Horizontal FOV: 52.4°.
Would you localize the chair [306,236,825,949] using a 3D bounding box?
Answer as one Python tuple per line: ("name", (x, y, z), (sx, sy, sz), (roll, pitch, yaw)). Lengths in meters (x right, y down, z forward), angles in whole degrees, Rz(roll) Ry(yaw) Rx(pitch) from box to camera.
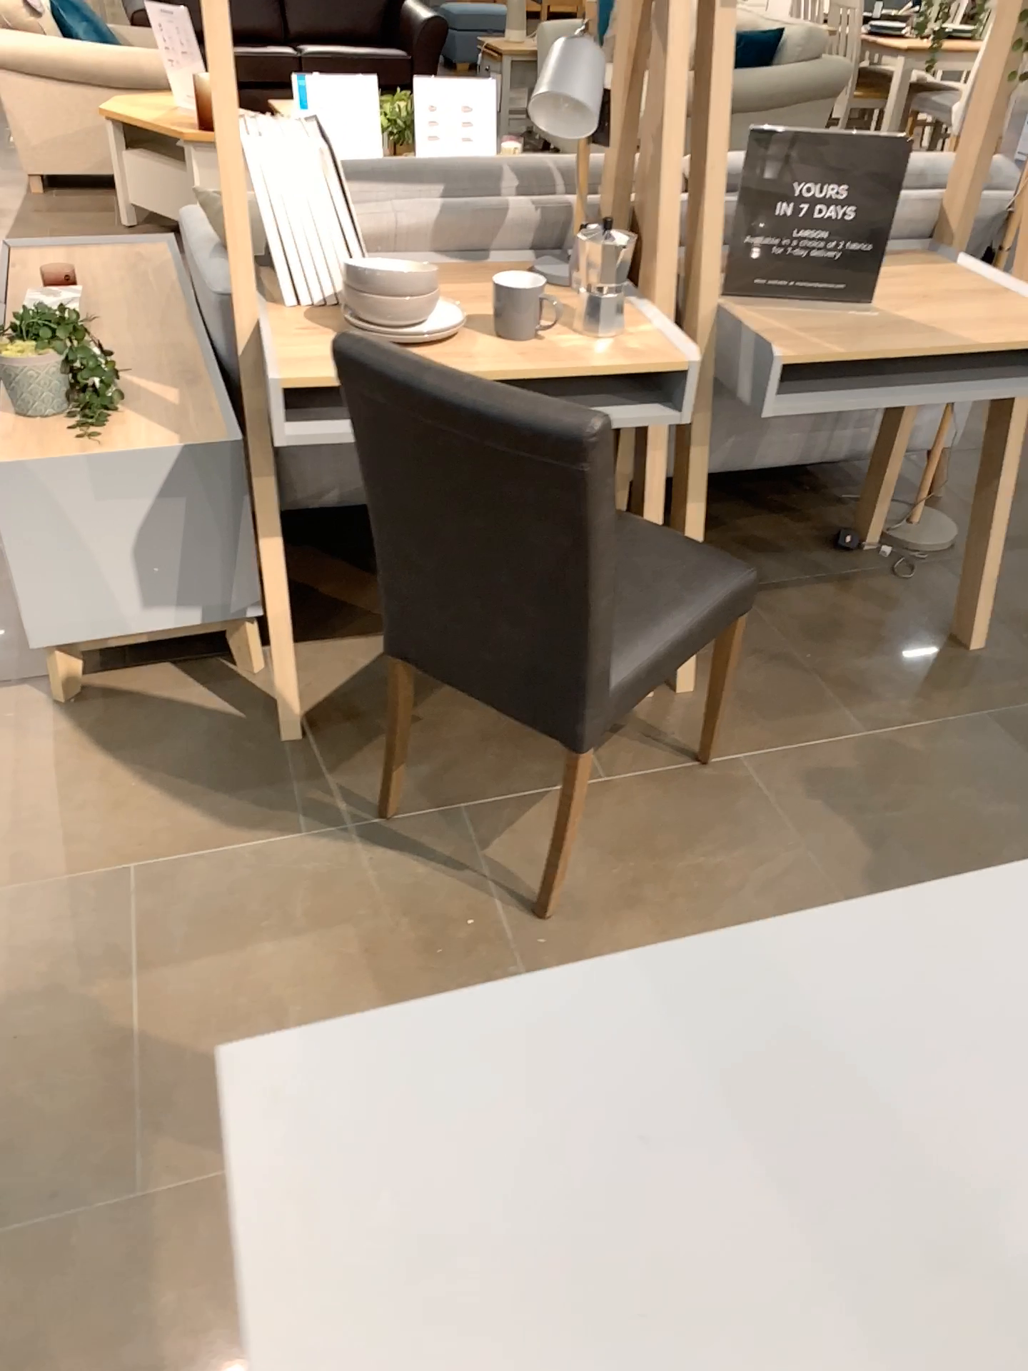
("chair", (0.072, -0.166, 1.704), (0.458, 0.887, 0.608), (26, 42, 27))
